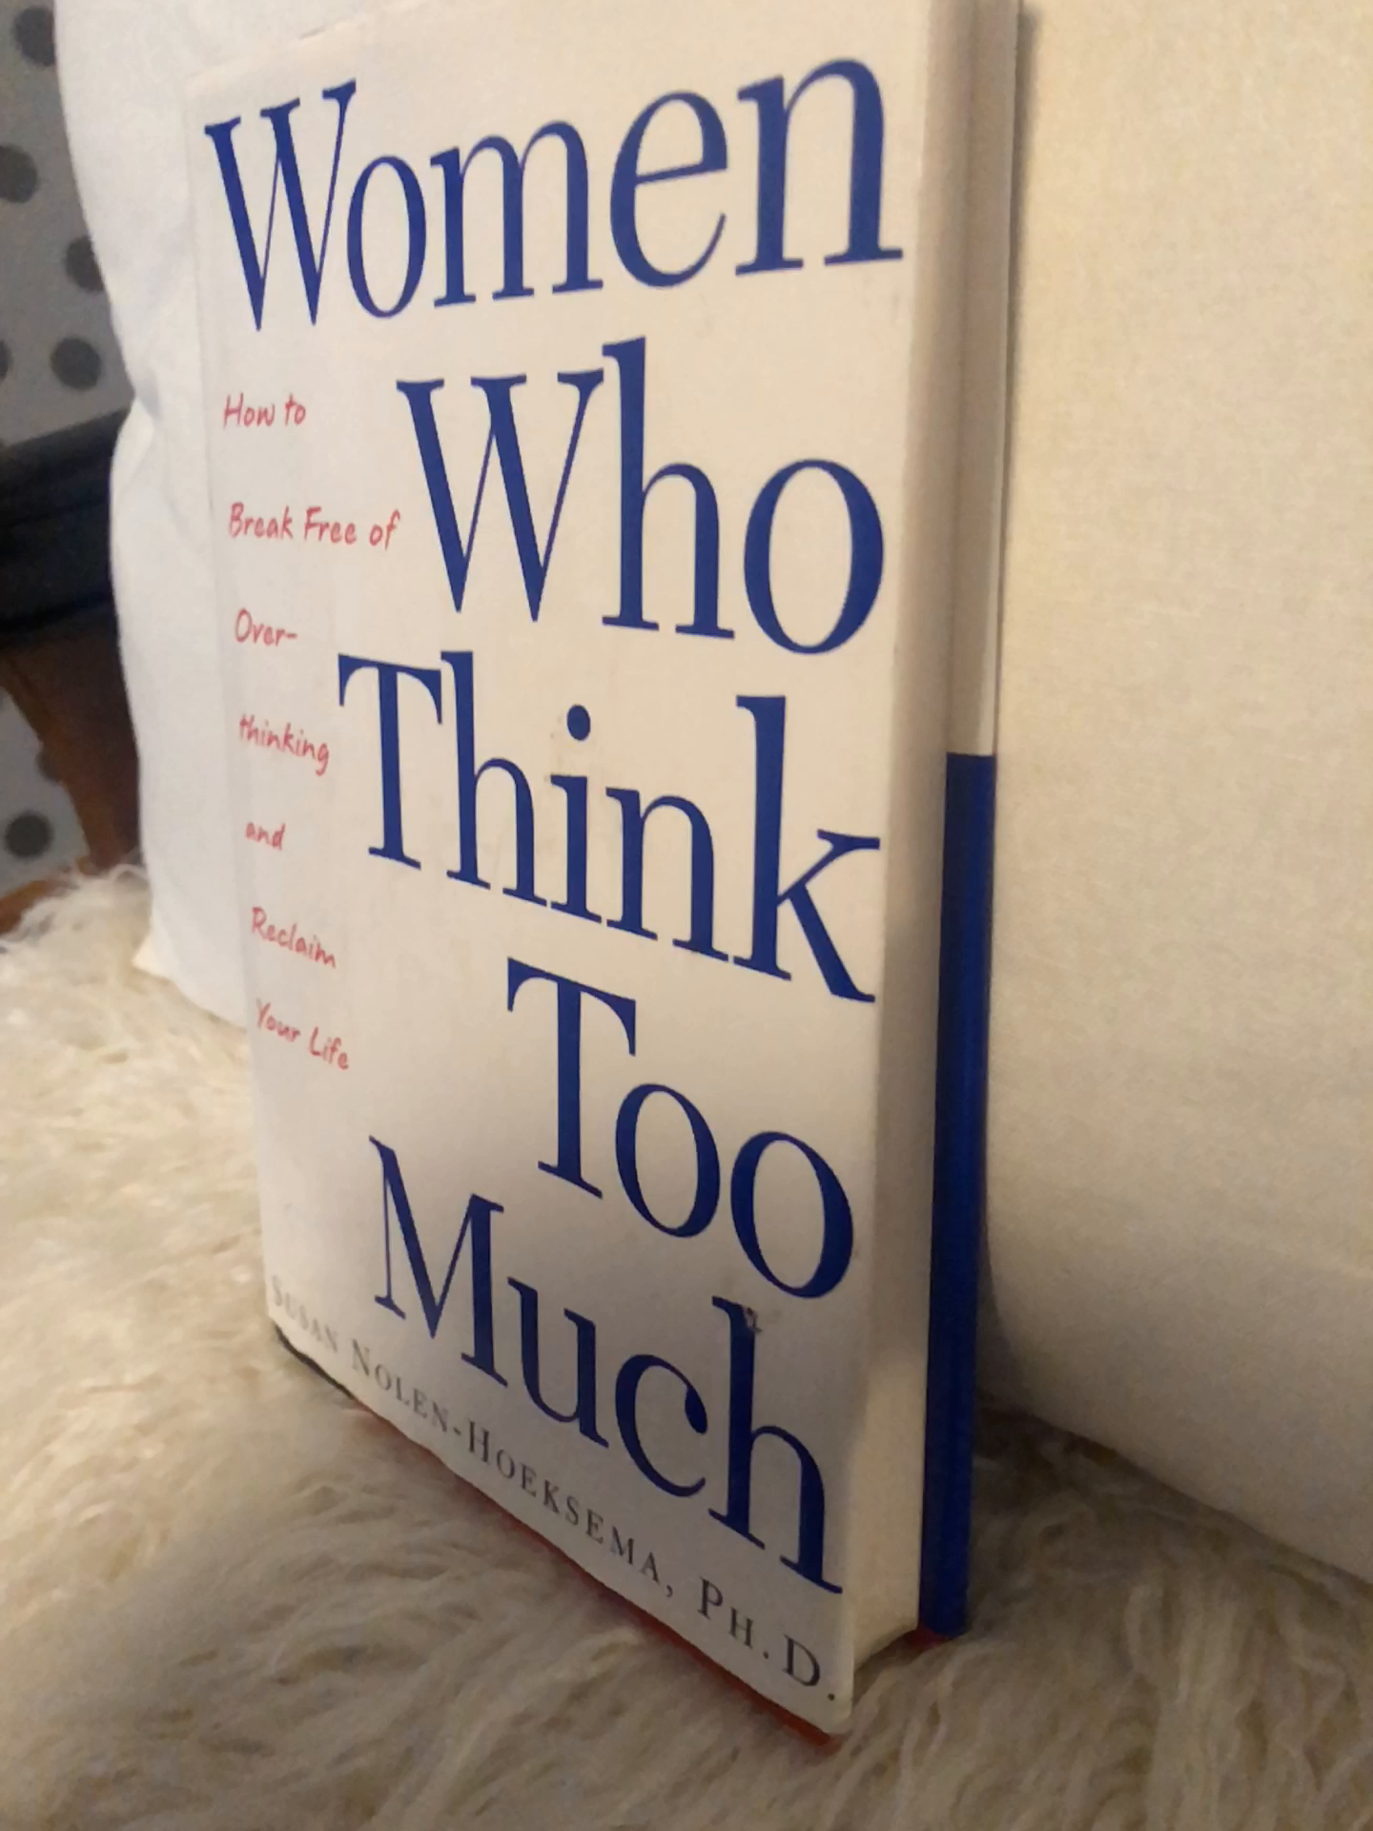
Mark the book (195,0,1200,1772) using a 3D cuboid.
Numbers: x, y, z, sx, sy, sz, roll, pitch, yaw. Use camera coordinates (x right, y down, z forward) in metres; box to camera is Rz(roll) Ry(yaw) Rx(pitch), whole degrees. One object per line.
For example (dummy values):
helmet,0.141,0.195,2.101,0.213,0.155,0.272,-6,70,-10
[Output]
book,-0.017,-0.018,0.254,0.166,0.241,0.040,16,19,42
